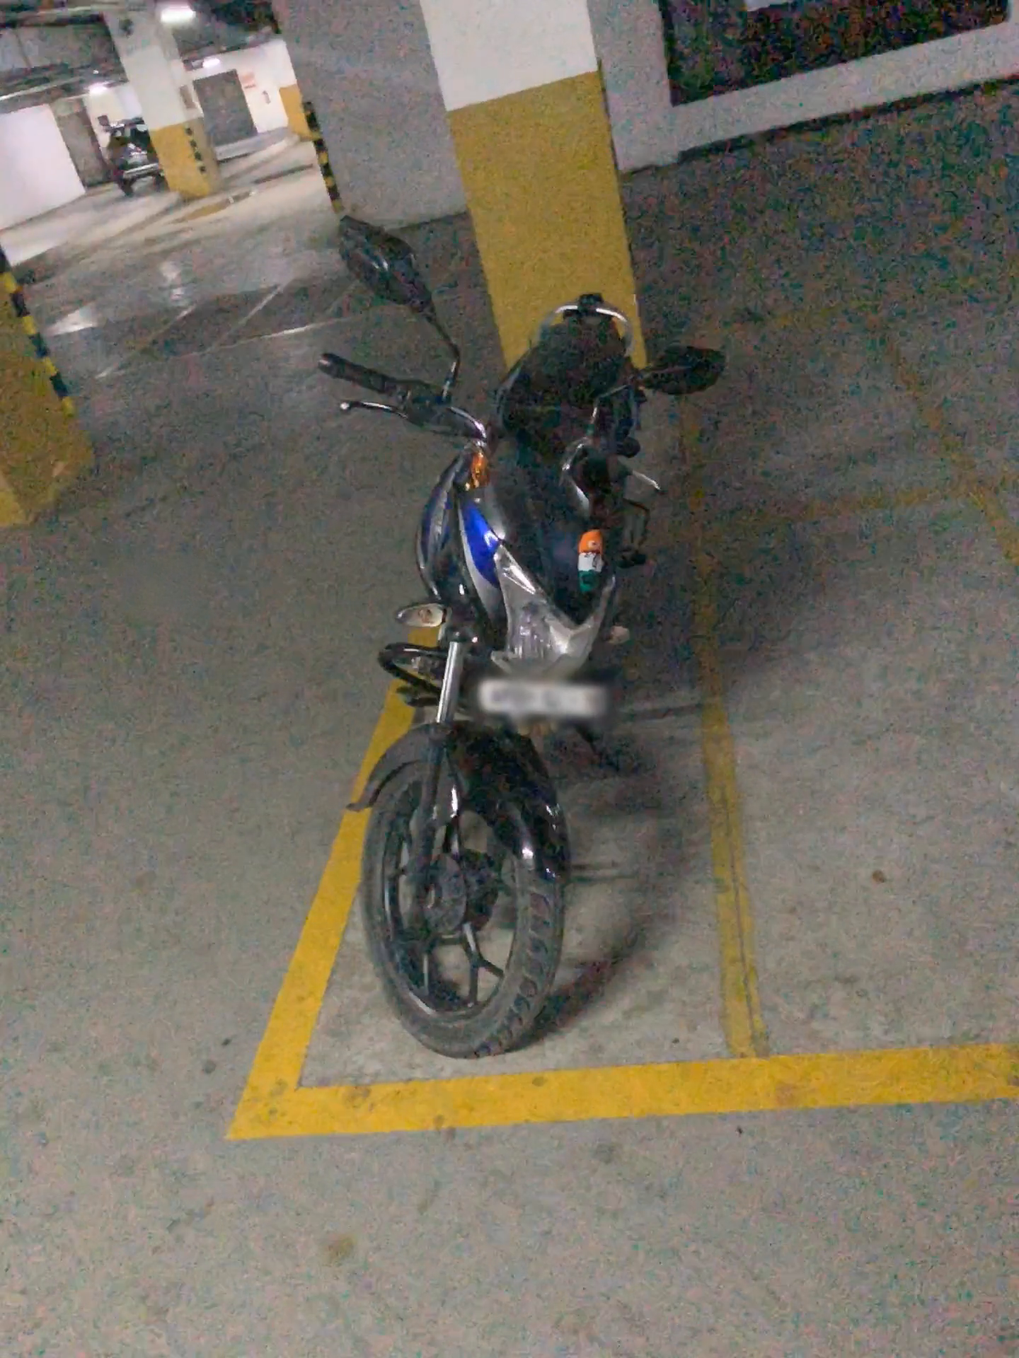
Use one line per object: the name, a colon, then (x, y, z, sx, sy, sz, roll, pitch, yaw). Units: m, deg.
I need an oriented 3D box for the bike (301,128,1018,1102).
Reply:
bike: (0.358, -0.394, 2.353, 0.850, 1.205, 2.222, -9, 31, 10)
